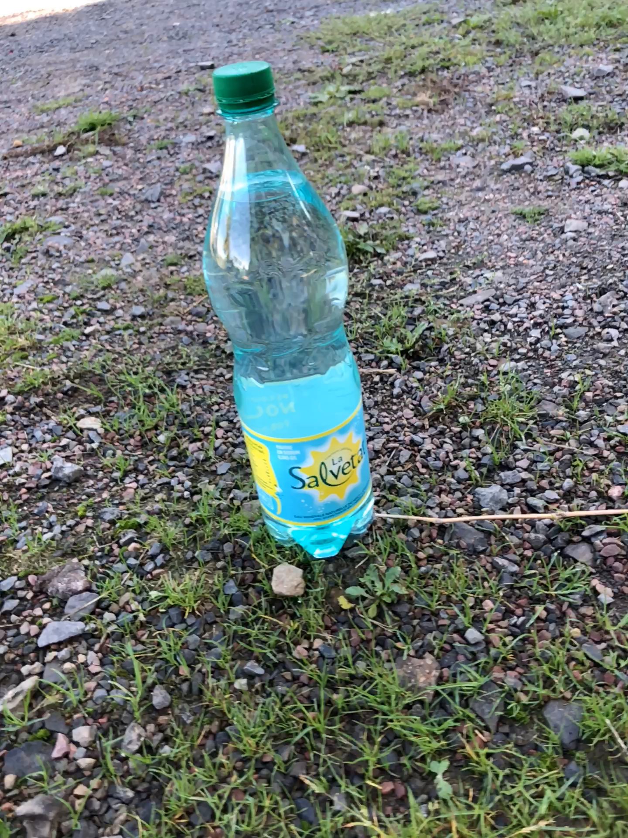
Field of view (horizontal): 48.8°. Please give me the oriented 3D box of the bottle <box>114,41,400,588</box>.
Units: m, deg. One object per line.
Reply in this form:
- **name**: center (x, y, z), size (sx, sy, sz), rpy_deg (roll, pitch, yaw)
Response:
- **bottle**: center (-0.020, -0.050, 0.419), size (0.090, 0.298, 0.100), rpy_deg (-25, 39, -22)
